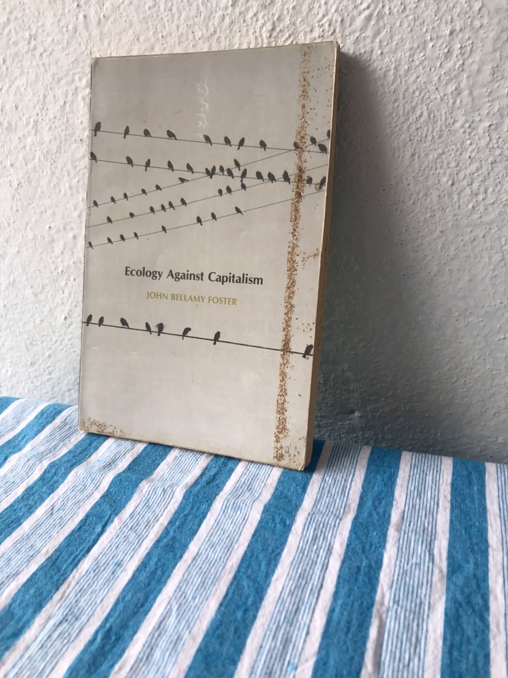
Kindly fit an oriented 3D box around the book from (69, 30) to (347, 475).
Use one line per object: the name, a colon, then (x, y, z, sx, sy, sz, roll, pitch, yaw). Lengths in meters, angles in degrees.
book: (-0.029, -0.046, 0.307, 0.140, 0.210, 0.030, 5, 2, 23)
